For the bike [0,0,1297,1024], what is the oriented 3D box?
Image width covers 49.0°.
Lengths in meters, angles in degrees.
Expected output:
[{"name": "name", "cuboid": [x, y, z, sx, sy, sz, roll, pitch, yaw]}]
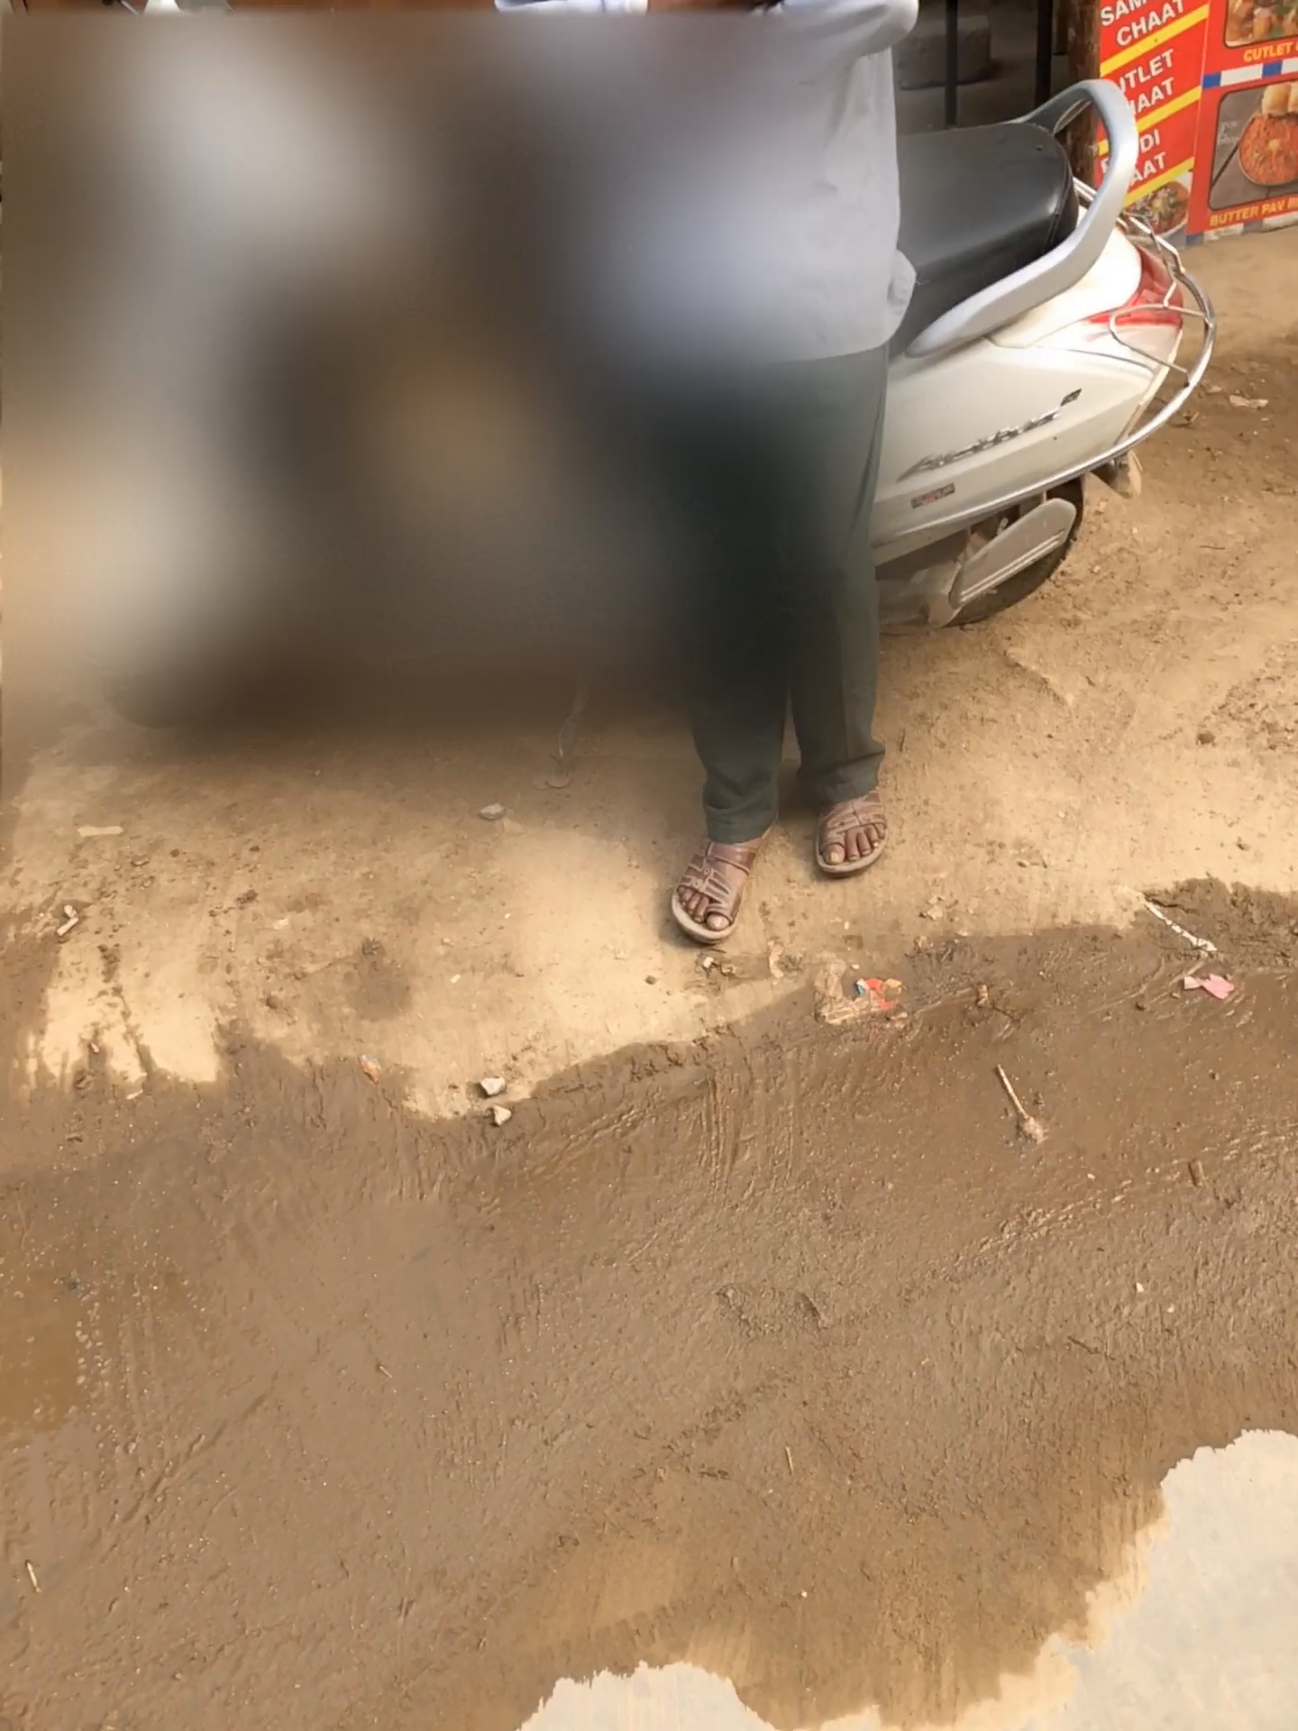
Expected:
[{"name": "bike", "cuboid": [-0.131, -0.553, 1.910, 1.575, 1.112, 0.660, -10, 40, 1]}]
